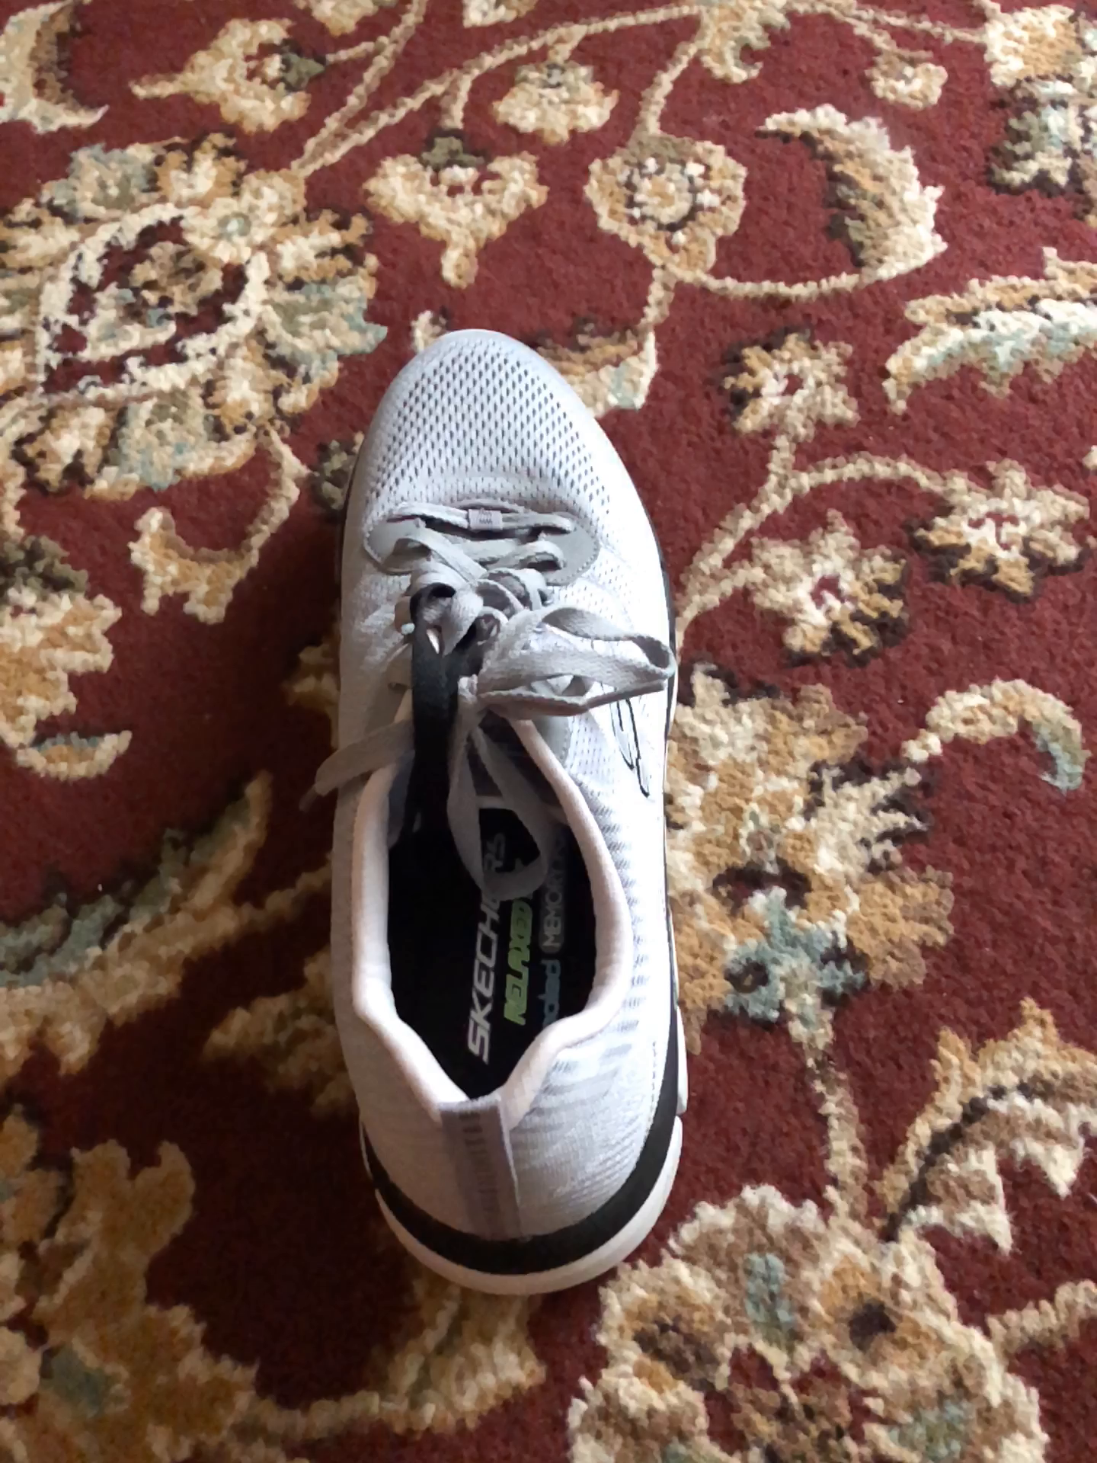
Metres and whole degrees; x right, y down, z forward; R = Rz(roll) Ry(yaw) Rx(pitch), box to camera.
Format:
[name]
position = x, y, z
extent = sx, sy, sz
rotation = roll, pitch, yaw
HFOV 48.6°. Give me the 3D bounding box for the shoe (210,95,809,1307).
[shoe]
position = -0.008, -0.015, 0.331
extent = 0.100, 0.130, 0.300
rotation = -3, 61, 2
